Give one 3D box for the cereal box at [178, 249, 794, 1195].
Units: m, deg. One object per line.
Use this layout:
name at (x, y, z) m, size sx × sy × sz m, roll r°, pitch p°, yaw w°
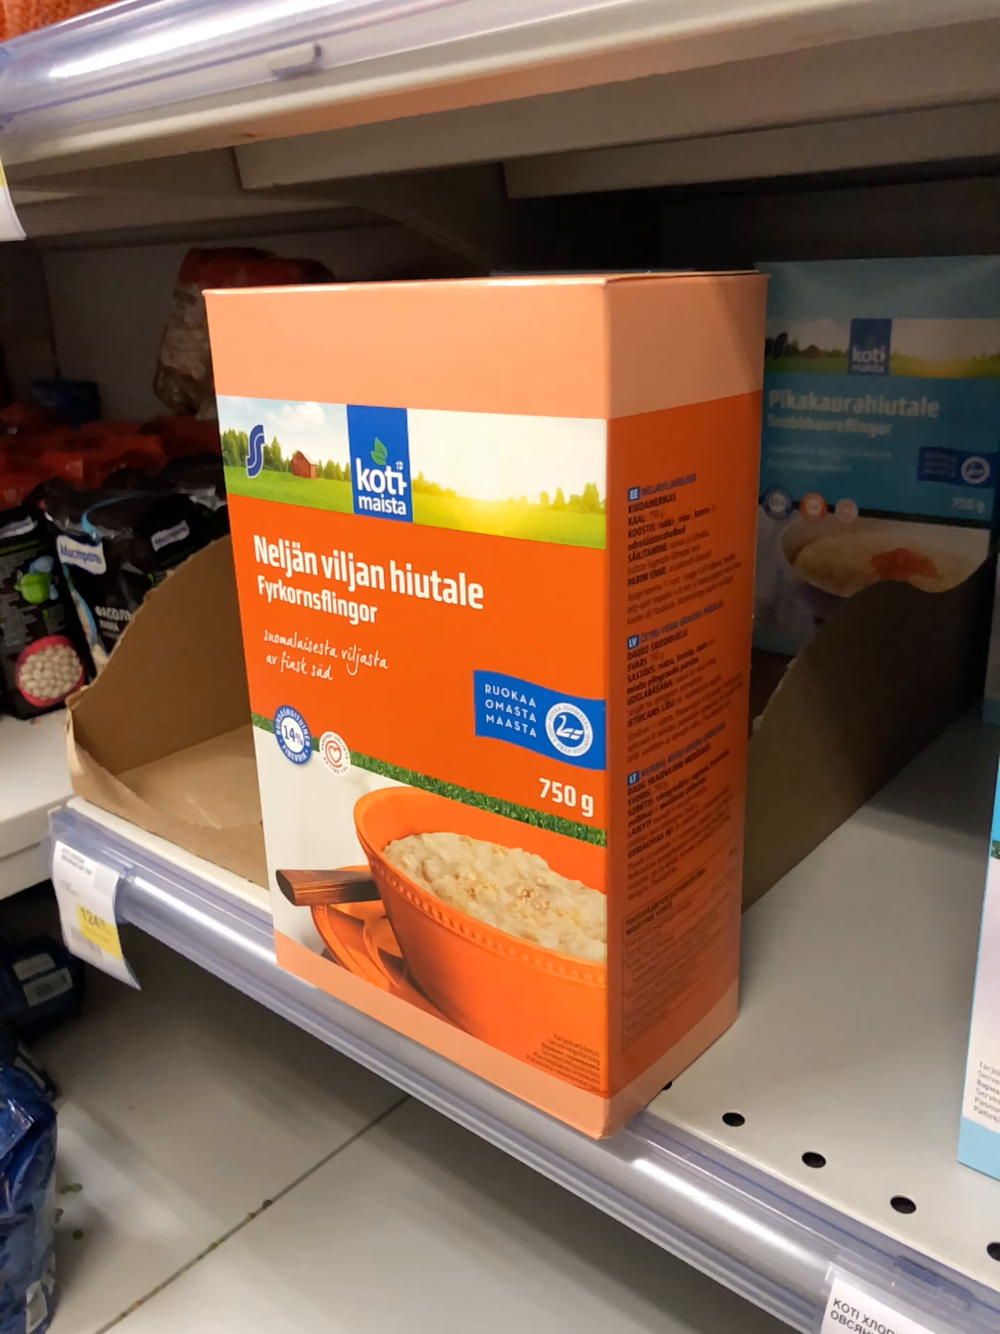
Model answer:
cereal box at (-0.007, 0.003, 0.329) m, size 0.150 × 0.229 × 0.080 m, roll 13°, pitch 22°, yaw 40°
